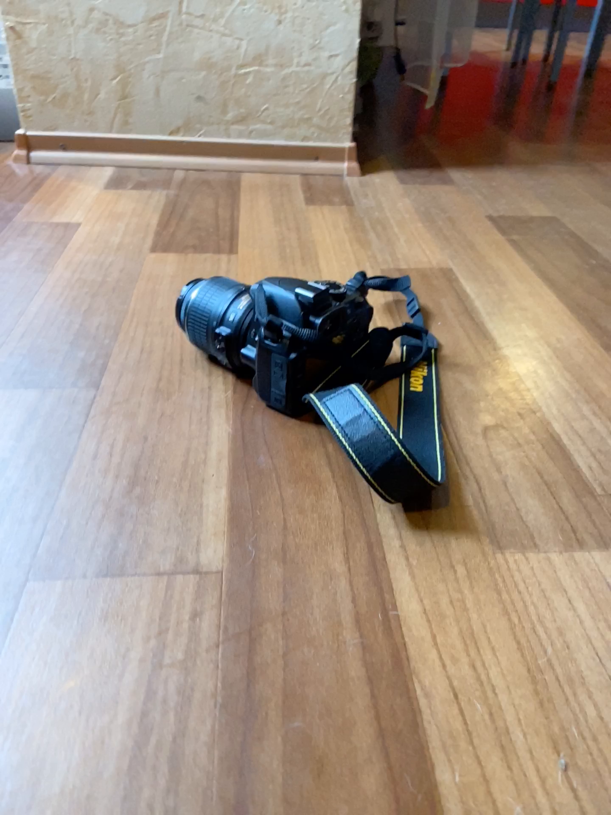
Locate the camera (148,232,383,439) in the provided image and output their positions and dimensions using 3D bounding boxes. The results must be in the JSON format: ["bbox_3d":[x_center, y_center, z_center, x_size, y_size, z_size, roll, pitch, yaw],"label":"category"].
[{"bbox_3d":[-0.033,-0.071,0.548,0.153,0.100,0.121,23,40,26],"label":"camera"}]
